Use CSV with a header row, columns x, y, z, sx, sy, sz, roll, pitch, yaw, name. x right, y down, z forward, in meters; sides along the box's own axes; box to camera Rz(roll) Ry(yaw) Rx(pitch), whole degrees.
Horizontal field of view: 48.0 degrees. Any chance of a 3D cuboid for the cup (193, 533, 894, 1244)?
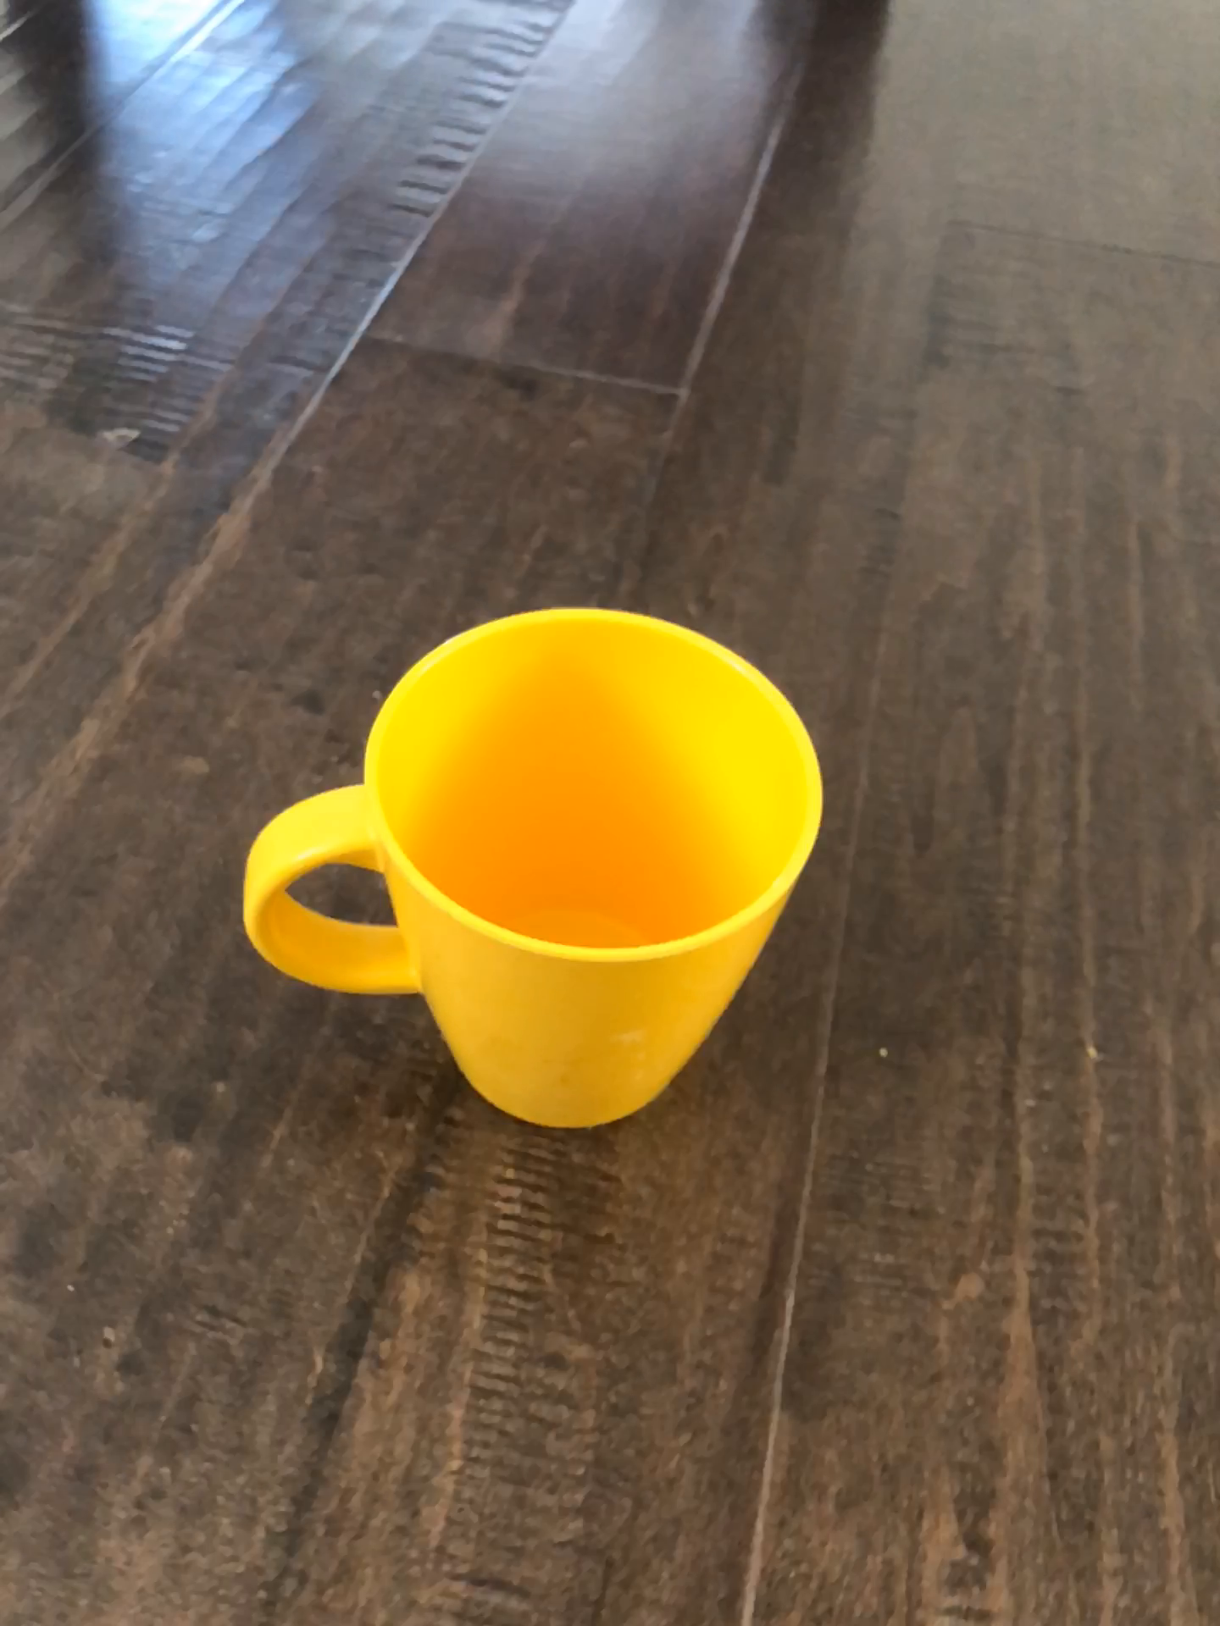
x,y,z,sx,sy,sz,roll,pitch,yaw,name
-0.019,0.015,0.291,0.110,0.099,0.091,-11,52,-14,cup
